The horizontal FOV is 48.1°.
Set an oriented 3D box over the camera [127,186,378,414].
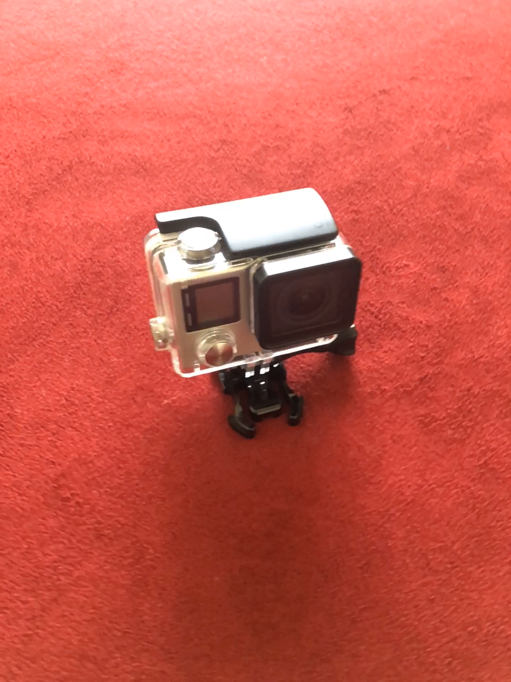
[{"bbox_3d":[-0.001,-0.015,0.202,0.072,0.050,0.040,-16,47,-9],"label":"camera"}]
